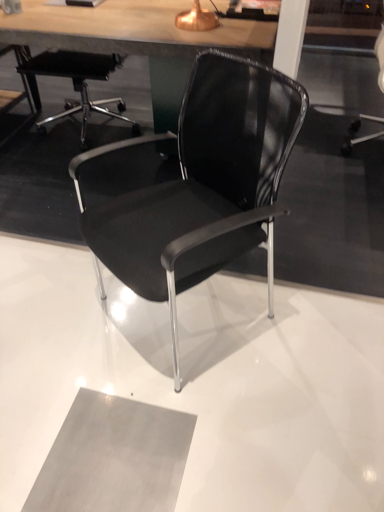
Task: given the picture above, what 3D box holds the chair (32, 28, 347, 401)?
[{"bbox_3d":[-0.025,-0.125,1.320,0.512,0.863,0.593,-28,50,-27],"label":"chair"}]
